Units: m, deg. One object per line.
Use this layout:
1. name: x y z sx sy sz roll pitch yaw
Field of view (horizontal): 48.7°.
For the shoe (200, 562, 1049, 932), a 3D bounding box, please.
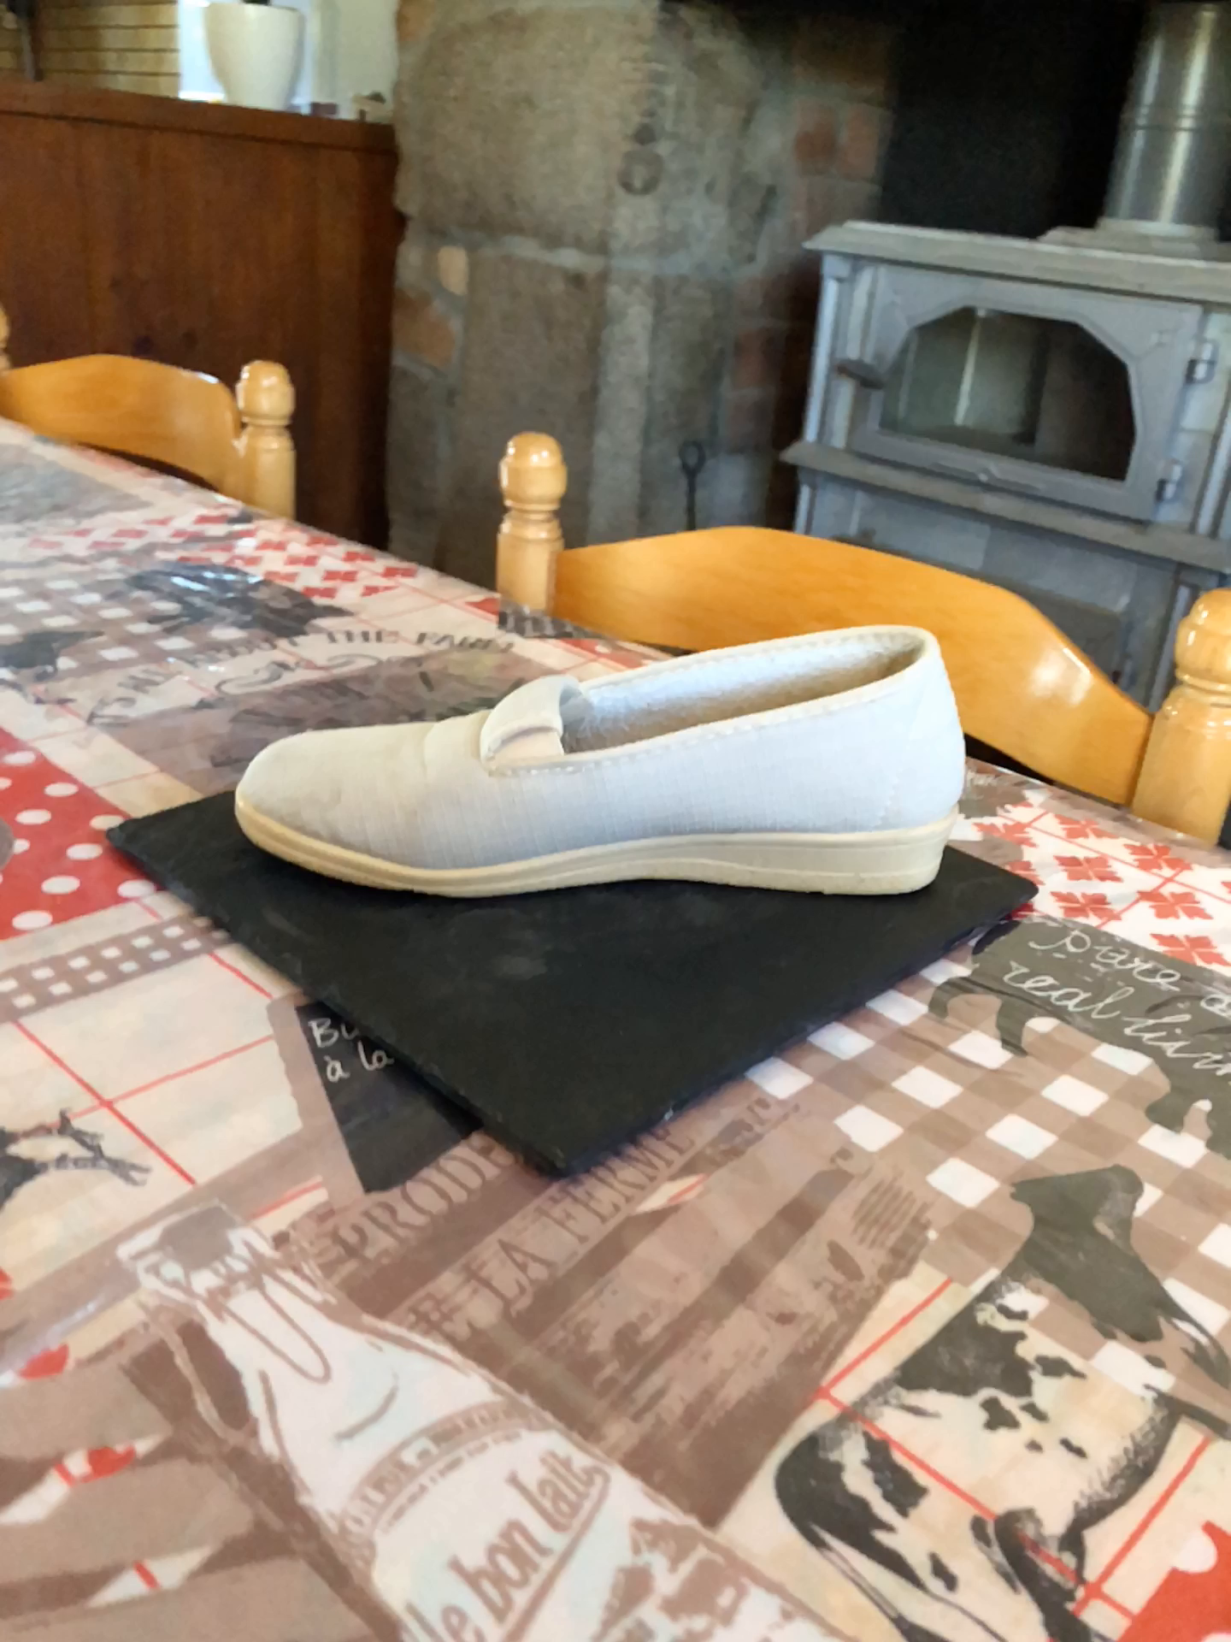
1. shoe: 0.000 -0.027 0.459 0.250 0.080 0.101 3 24 -6
